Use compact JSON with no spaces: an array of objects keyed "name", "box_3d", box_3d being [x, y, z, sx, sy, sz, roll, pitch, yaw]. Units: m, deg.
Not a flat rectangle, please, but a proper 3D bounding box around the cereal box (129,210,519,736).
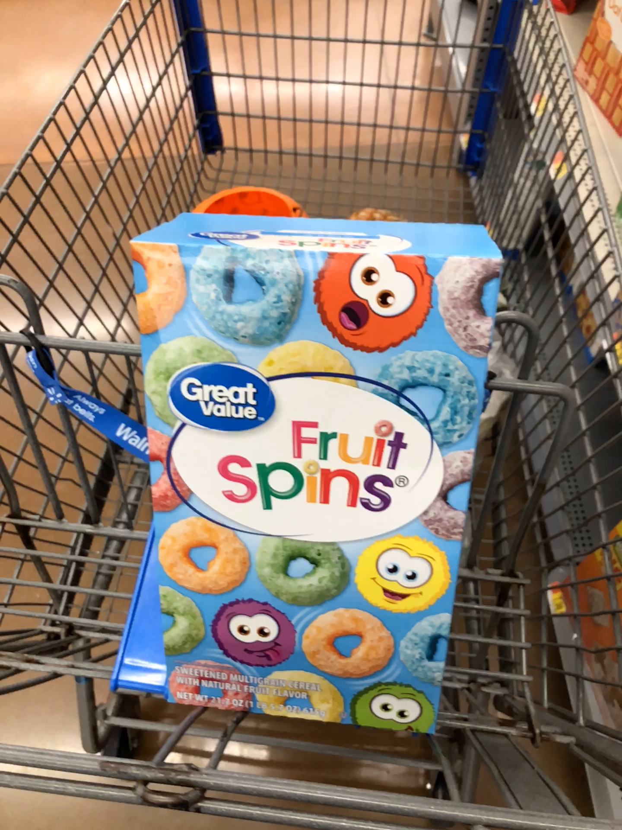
[{"name":"cereal box","box_3d":[0.003,0.049,0.466,0.200,0.340,0.090,4,26,5]}]
